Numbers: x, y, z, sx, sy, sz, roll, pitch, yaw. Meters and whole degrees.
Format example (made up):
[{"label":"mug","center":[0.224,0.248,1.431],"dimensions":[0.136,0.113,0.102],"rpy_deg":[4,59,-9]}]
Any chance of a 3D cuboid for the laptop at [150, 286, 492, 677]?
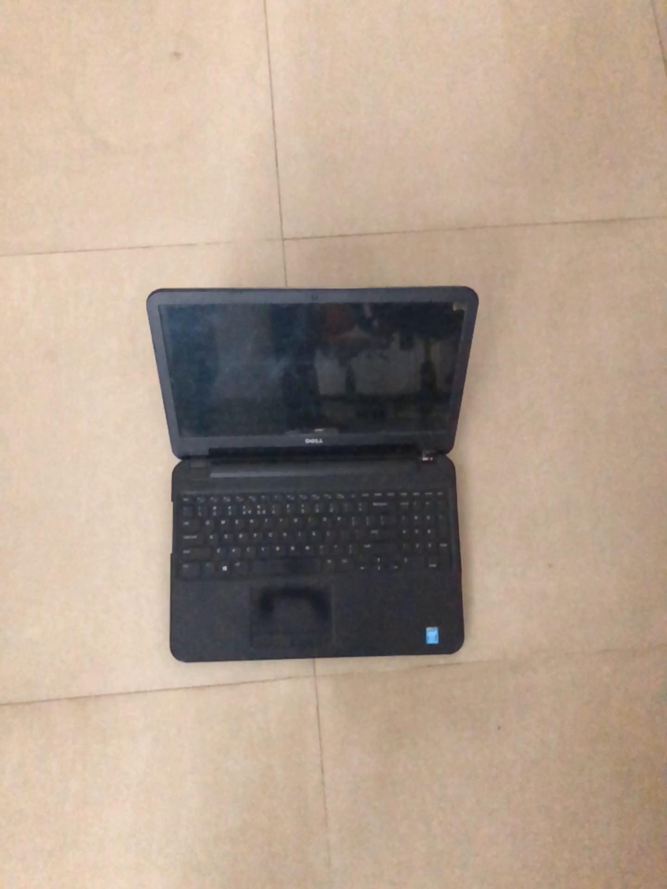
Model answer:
[{"label":"laptop","center":[-0.020,0.044,0.856],"dimensions":[0.343,0.179,0.405],"rpy_deg":[-1,80,-2]}]
